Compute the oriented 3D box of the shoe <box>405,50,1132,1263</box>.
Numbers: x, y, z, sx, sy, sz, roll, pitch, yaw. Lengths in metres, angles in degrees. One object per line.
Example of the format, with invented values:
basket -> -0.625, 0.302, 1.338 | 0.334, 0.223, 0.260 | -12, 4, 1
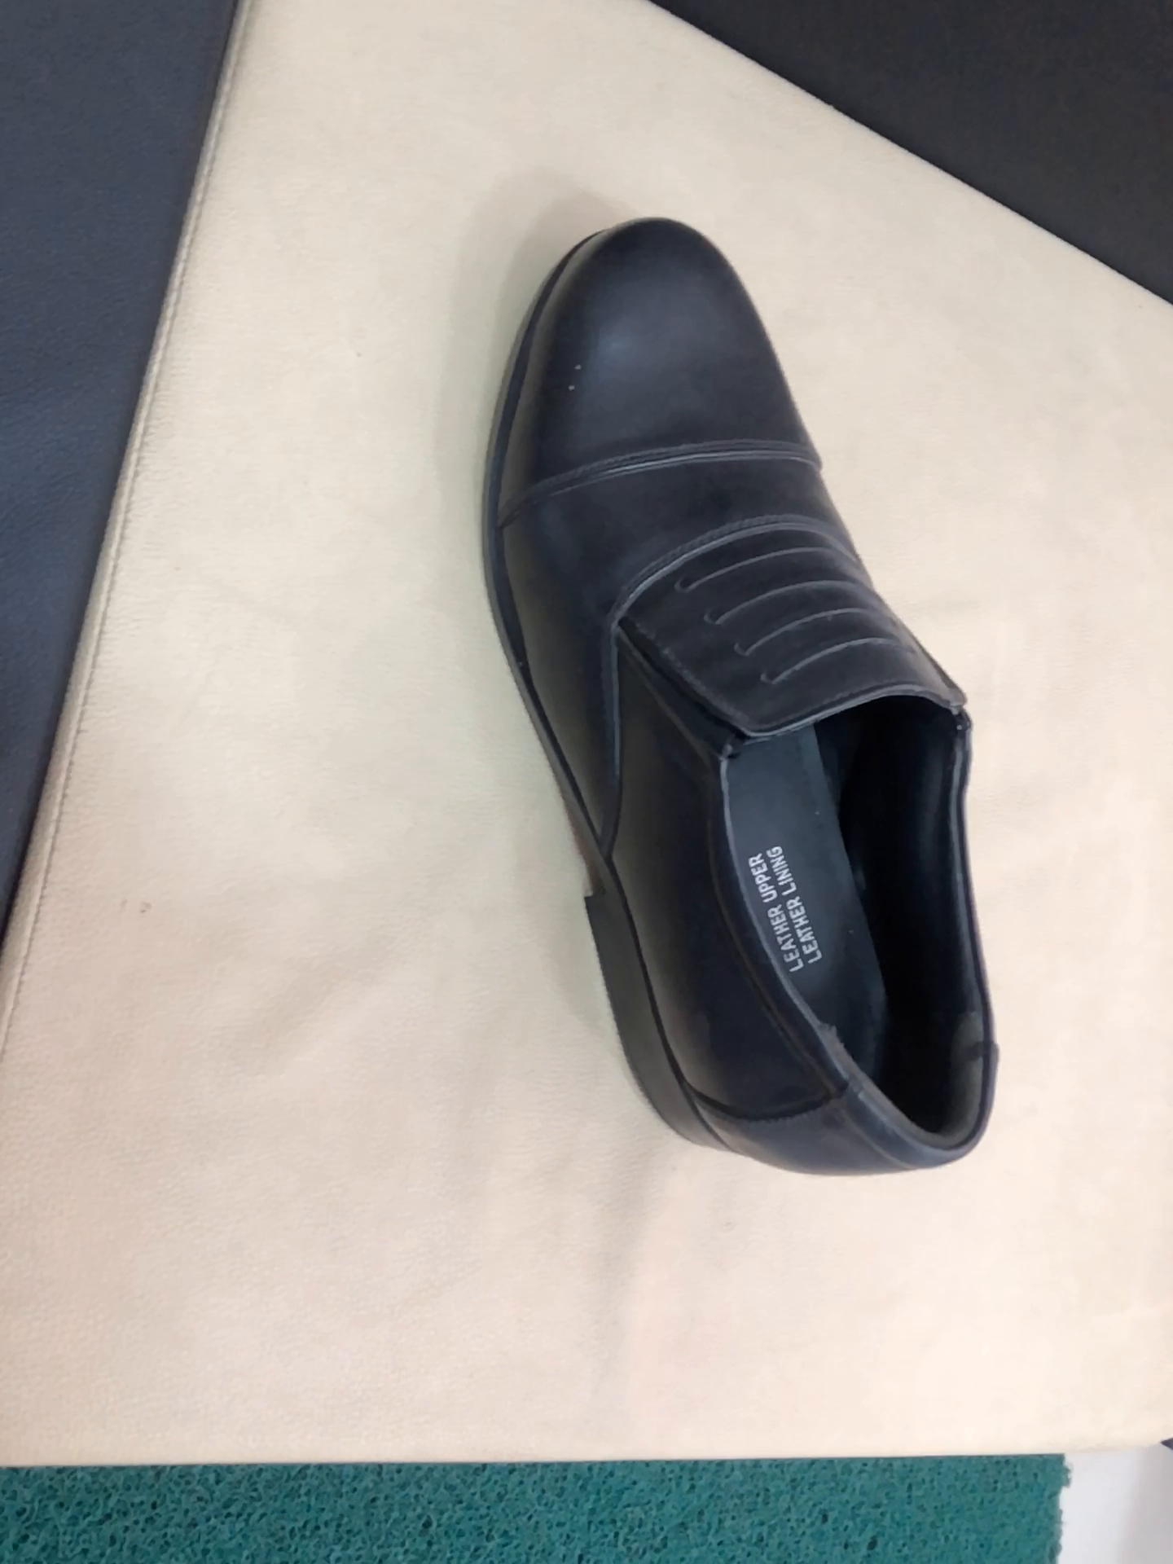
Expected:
shoe -> 0.045, -0.032, 0.360 | 0.100, 0.119, 0.270 | -14, 95, -27
